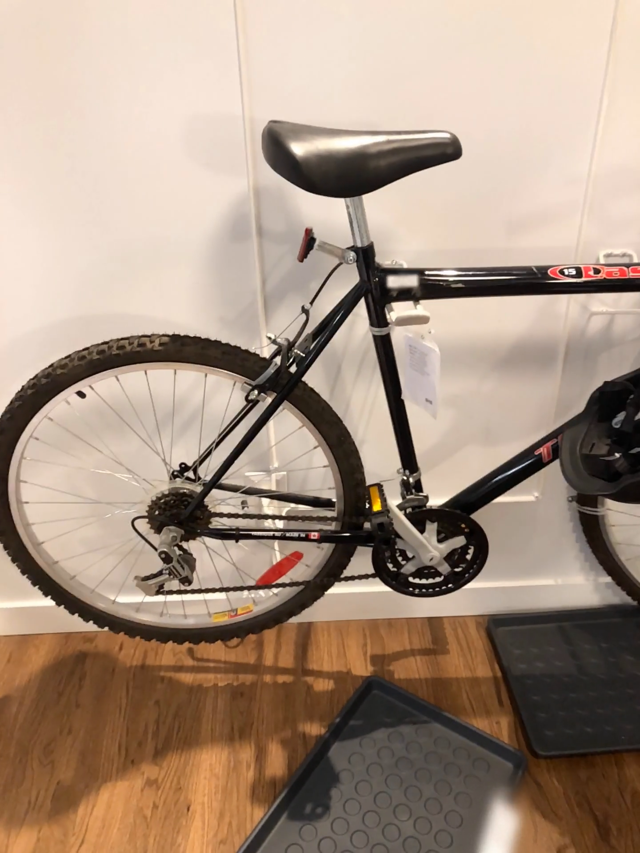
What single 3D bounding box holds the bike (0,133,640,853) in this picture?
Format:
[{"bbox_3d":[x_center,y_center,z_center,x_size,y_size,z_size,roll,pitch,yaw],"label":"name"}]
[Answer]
[{"bbox_3d":[0.235,0.111,1.147,1.565,0.845,0.561,6,31,2],"label":"bike"}]
